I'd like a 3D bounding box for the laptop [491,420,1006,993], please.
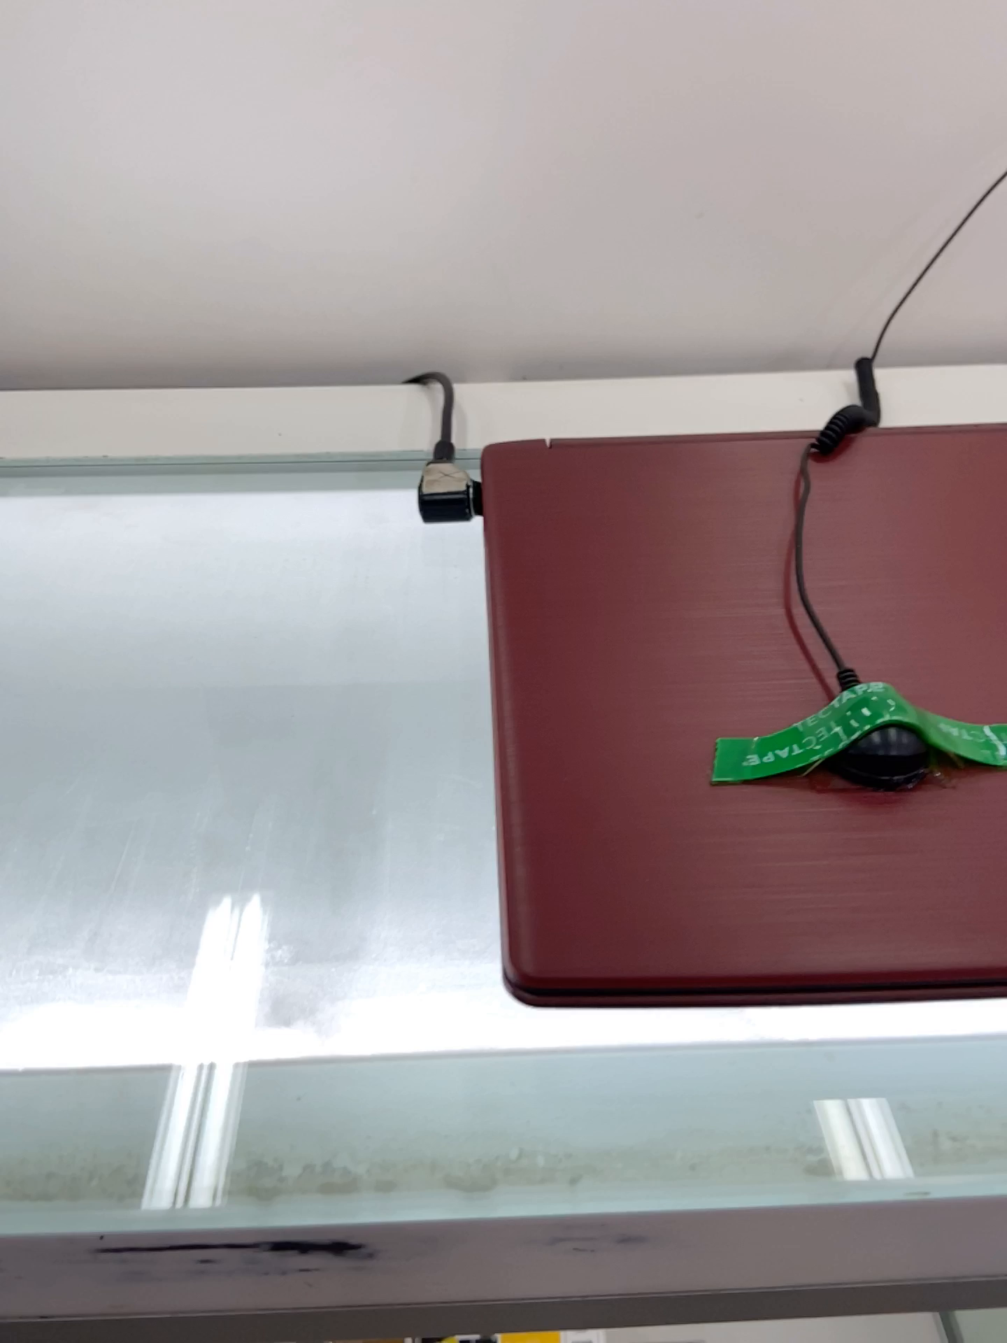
[{"bbox_3d":[0.183,-0.020,0.318,0.367,0.006,0.263,-2,35,-1],"label":"laptop"}]
